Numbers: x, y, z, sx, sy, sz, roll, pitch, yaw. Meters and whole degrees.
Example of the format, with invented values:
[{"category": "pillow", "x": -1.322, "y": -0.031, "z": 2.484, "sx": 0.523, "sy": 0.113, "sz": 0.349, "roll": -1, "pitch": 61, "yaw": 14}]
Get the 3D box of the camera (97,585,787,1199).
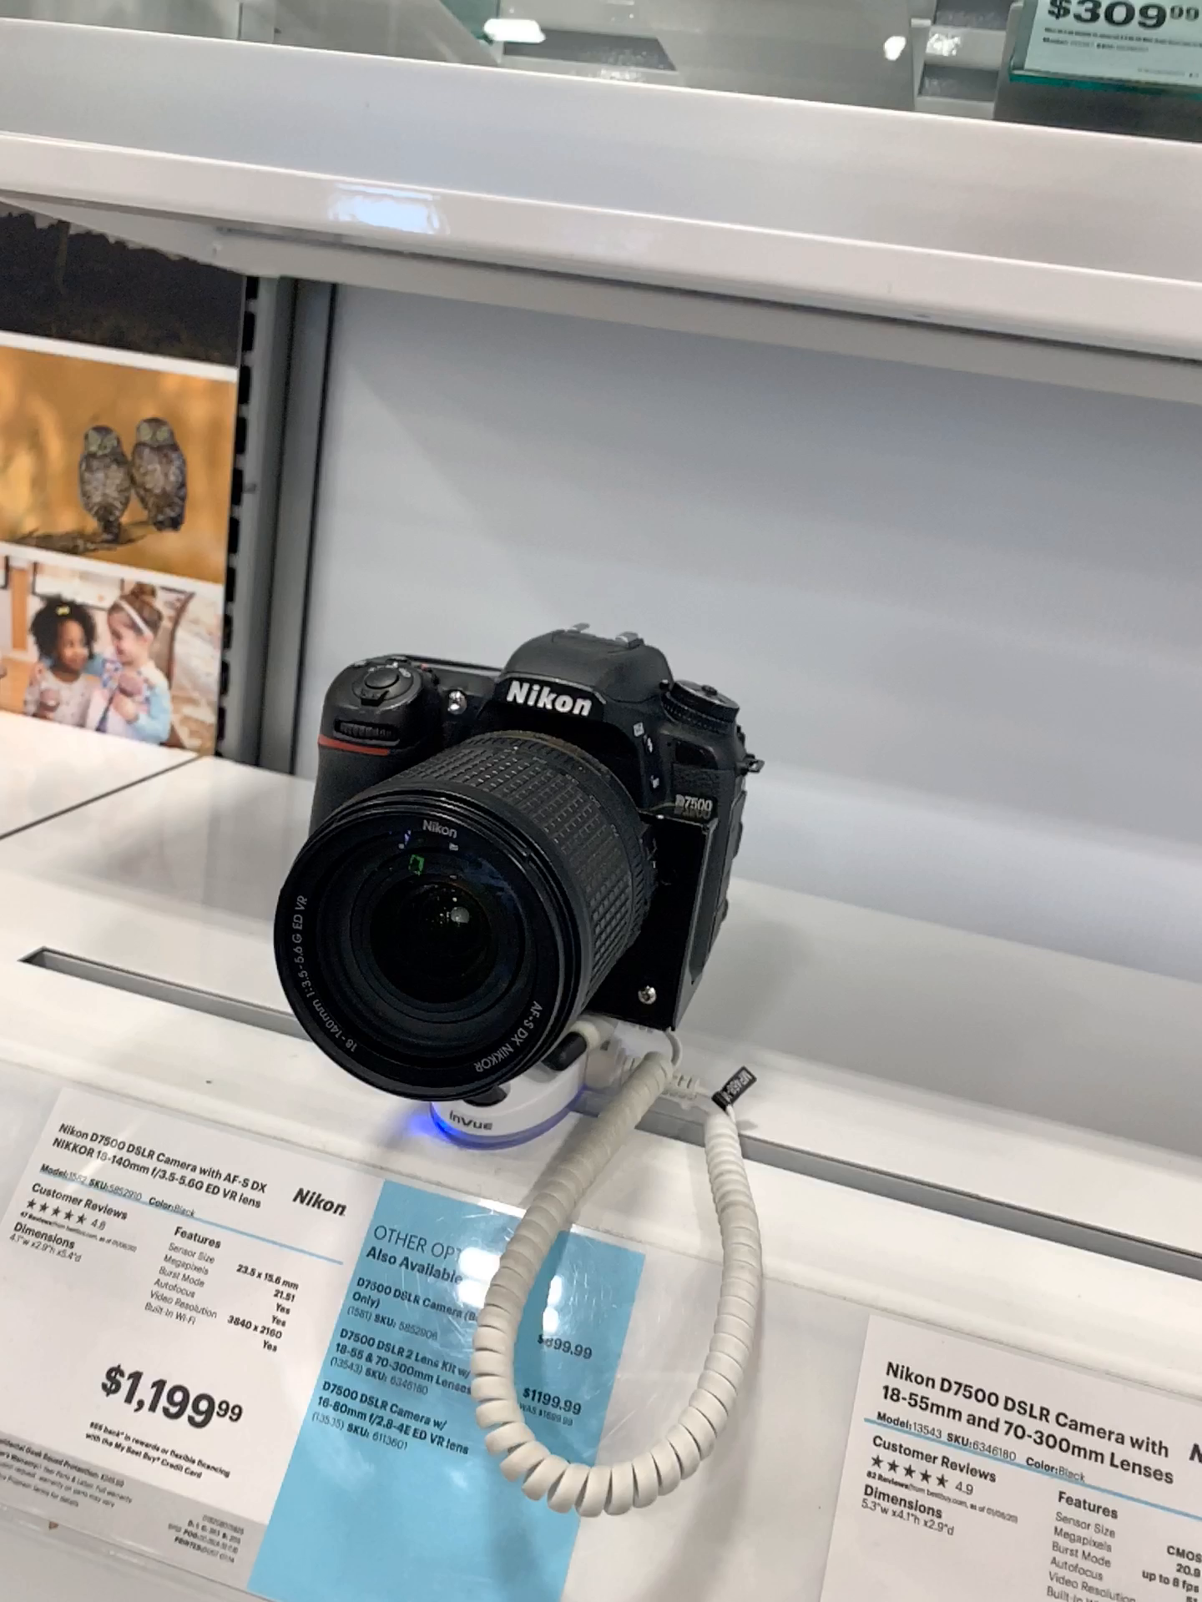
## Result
[{"category": "camera", "x": -0.026, "y": 0.005, "z": 0.345, "sx": 0.131, "sy": 0.107, "sz": 0.173, "roll": 11, "pitch": 12, "yaw": 9}]
